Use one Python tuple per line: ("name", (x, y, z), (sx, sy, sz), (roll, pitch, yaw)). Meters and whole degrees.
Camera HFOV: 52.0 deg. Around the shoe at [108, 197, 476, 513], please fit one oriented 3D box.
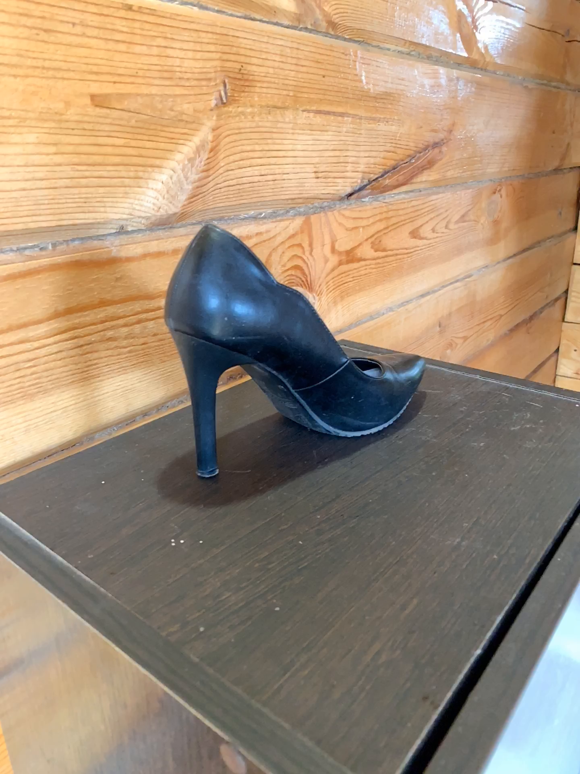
("shoe", (0.012, -0.042, 0.401), (0.221, 0.149, 0.100), (-18, 26, -37))
